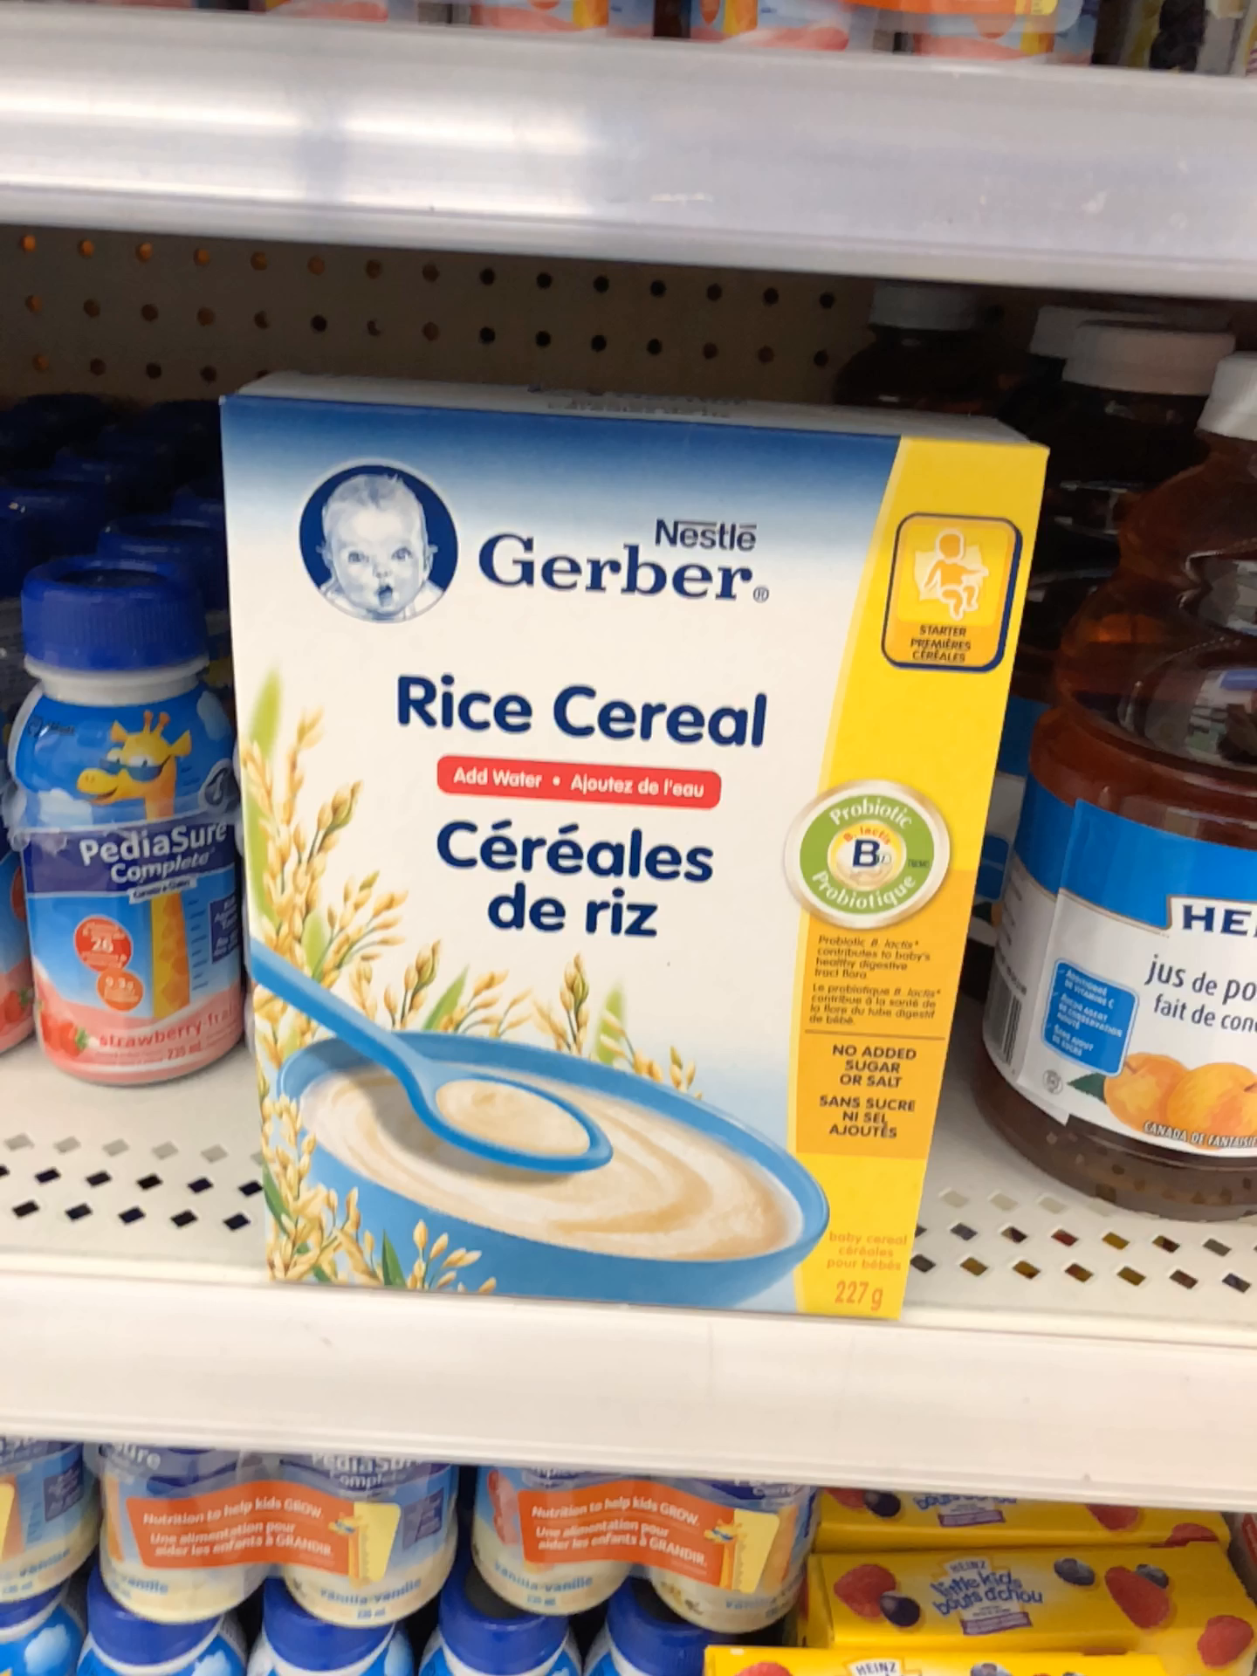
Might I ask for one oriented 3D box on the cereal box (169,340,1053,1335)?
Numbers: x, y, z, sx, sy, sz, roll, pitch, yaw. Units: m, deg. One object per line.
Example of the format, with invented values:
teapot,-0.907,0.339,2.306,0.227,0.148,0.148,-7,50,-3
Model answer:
cereal box,-0.009,0.005,0.303,0.150,0.199,0.060,4,24,-1
